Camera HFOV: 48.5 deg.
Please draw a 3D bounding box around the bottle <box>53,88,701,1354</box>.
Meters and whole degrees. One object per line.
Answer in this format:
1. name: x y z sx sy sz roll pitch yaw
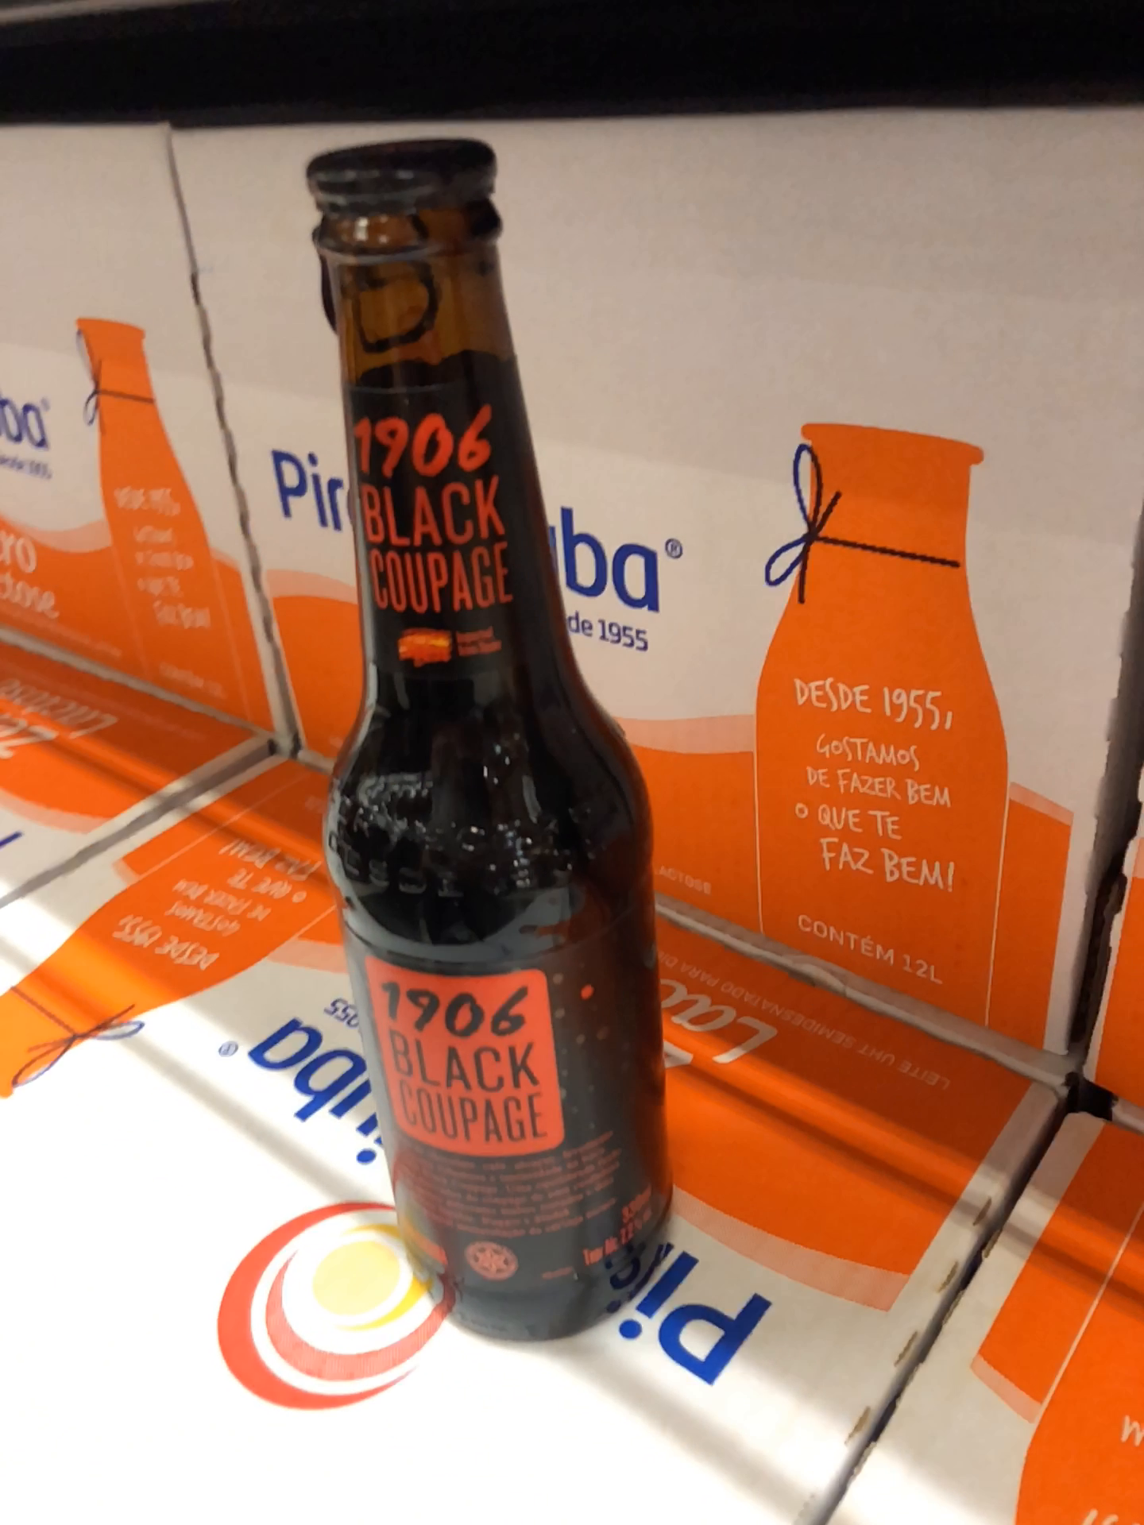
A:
1. bottle: -0.016 0.006 0.228 0.070 0.218 0.060 1 31 10
